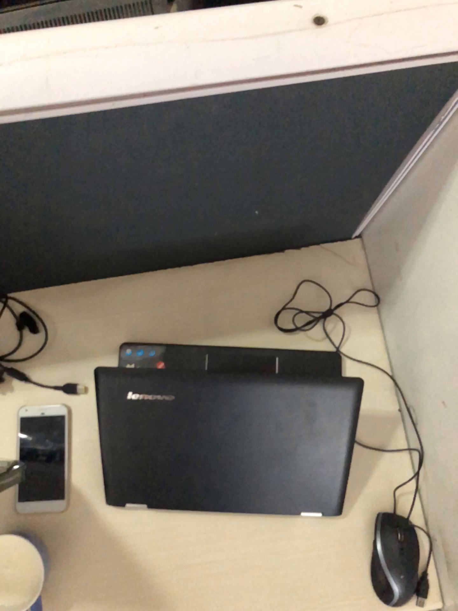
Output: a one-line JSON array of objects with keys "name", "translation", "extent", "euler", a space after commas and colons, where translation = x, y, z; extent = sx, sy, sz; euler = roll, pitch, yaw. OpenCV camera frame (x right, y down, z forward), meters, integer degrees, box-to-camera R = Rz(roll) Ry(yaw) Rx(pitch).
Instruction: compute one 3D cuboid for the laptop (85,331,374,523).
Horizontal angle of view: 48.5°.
[{"name": "laptop", "translation": [-0.001, 0.153, 0.652], "extent": [0.323, 0.143, 0.204], "euler": [2, 85, 0]}]
